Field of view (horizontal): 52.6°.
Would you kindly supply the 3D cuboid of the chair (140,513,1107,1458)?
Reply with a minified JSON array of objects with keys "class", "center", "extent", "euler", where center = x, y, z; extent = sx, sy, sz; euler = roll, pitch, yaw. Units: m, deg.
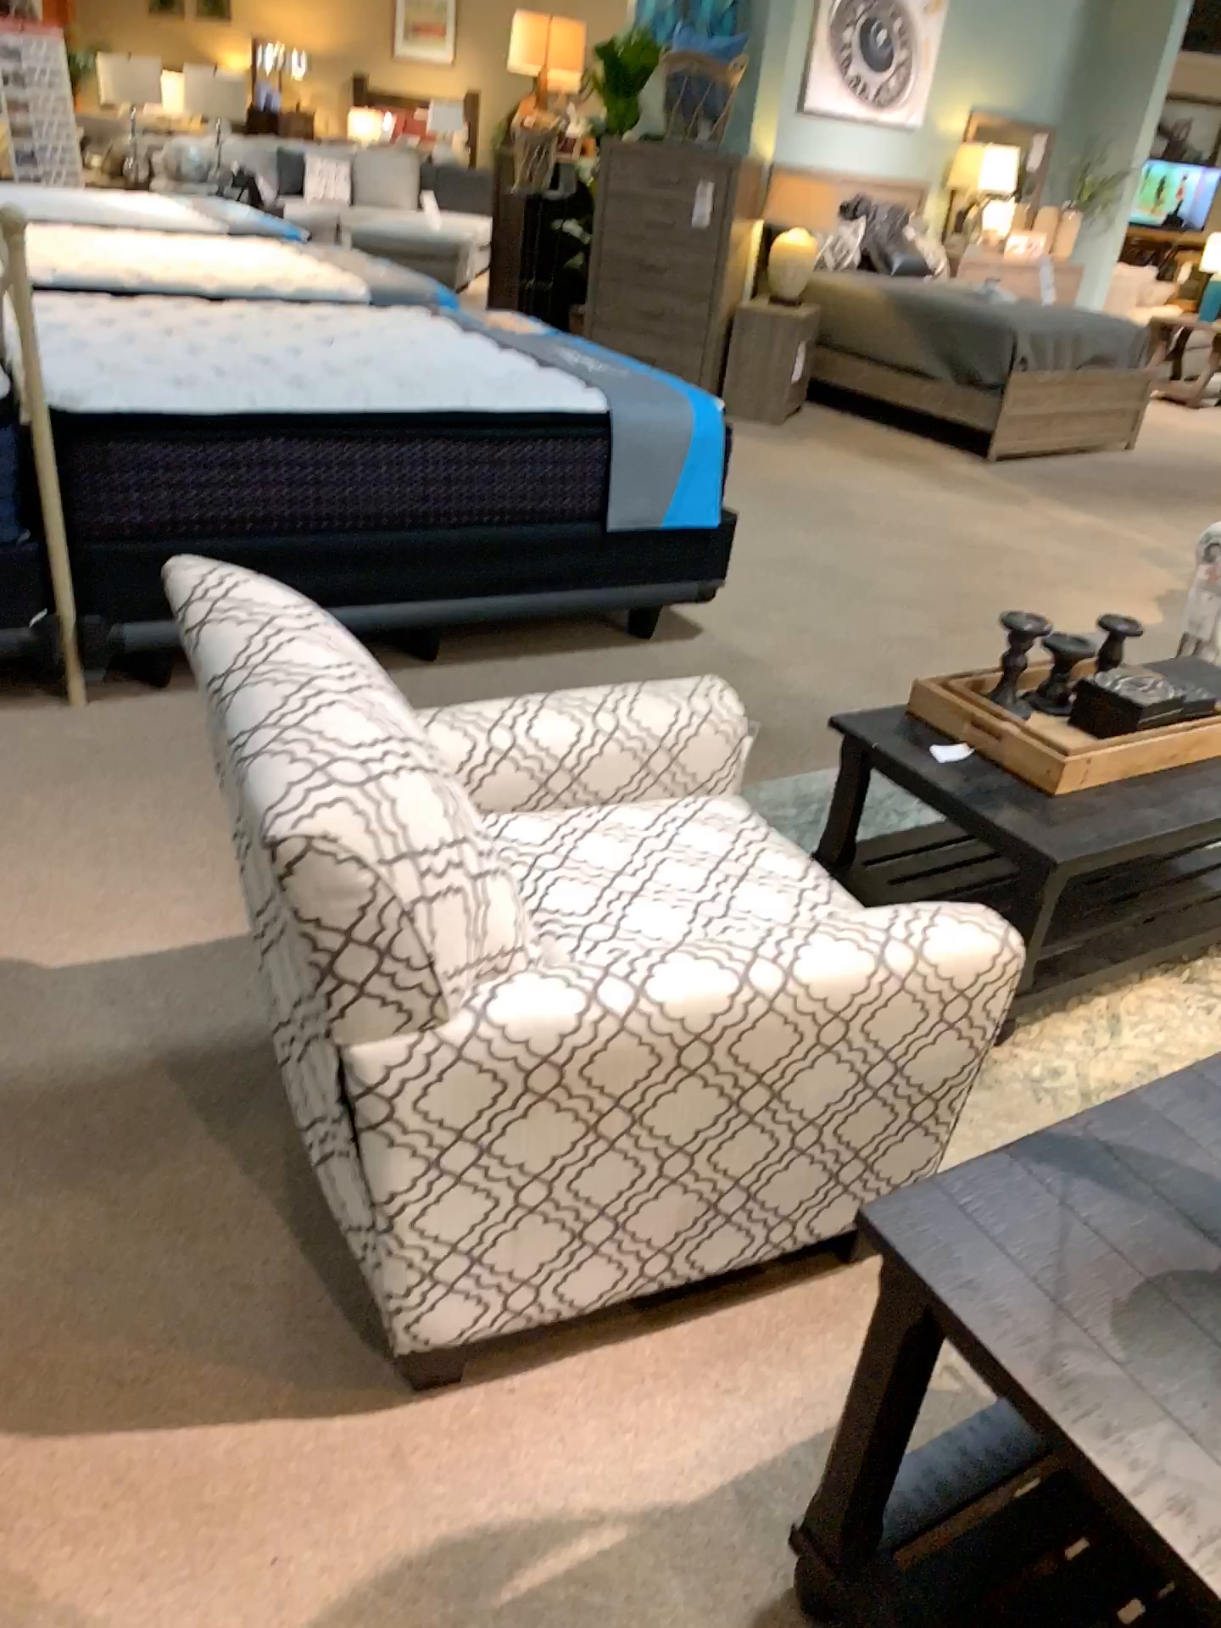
[{"class":"chair","center":[-0.088,0.118,1.779],"extent":[0.965,0.847,0.878],"euler":[-7,32,-24]}]
